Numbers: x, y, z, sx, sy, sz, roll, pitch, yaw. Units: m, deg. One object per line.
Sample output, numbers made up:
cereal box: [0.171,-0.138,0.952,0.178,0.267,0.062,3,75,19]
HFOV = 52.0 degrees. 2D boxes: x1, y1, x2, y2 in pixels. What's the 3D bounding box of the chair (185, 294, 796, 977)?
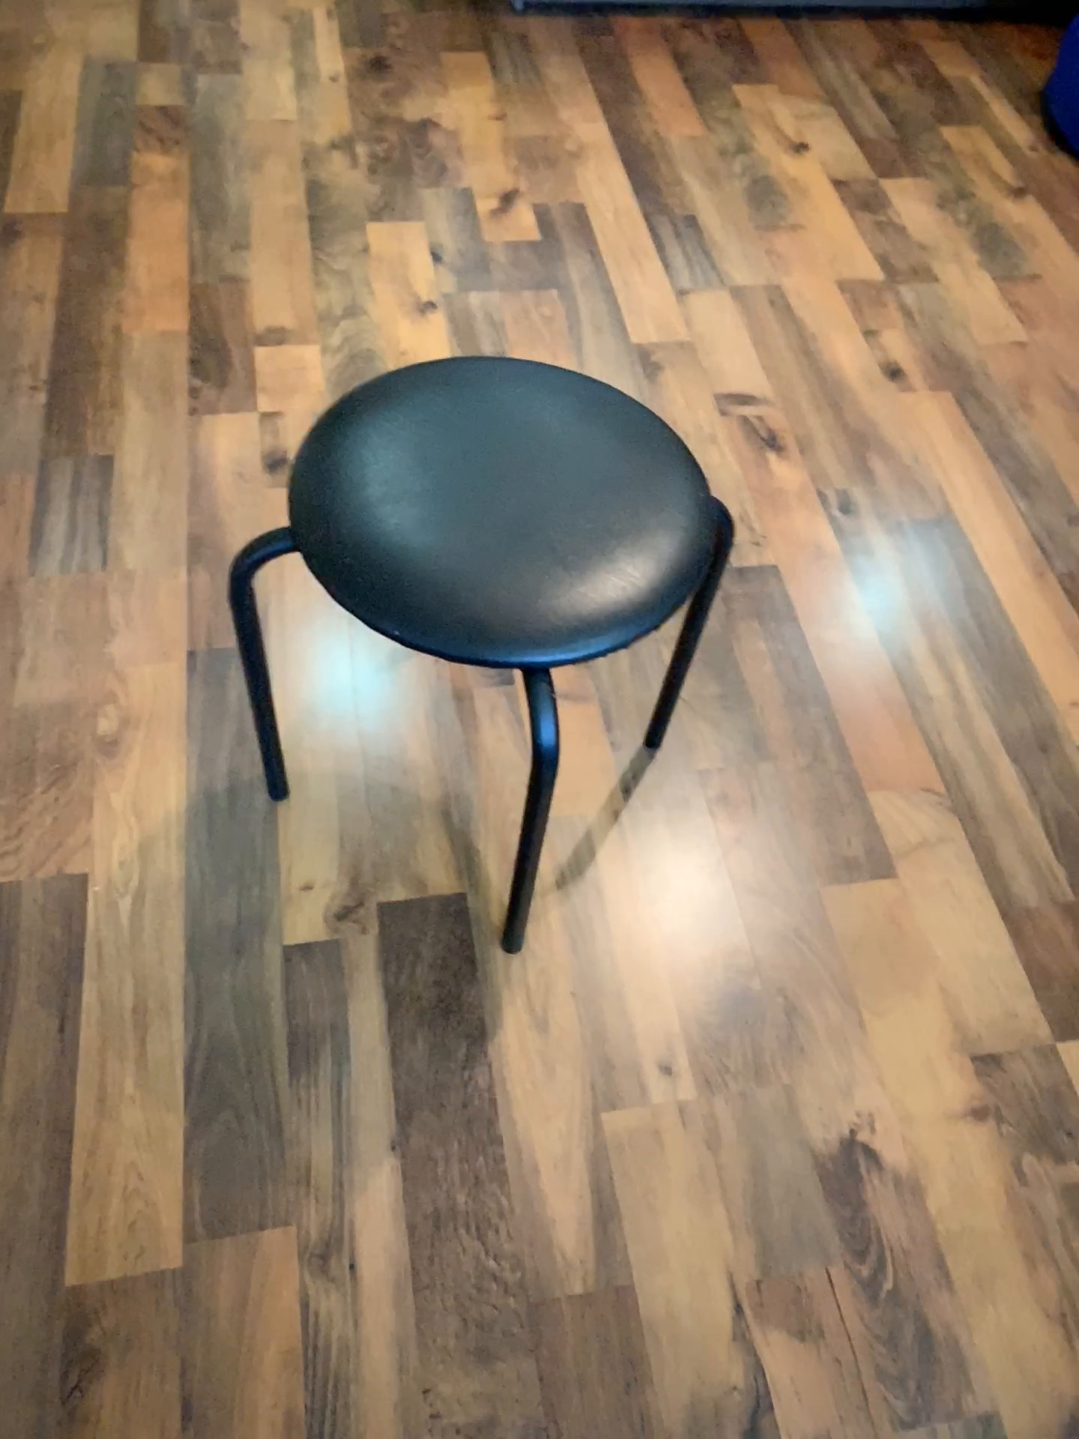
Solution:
chair: [-0.042,-0.065,1.036,0.351,0.427,0.332,30,58,15]
